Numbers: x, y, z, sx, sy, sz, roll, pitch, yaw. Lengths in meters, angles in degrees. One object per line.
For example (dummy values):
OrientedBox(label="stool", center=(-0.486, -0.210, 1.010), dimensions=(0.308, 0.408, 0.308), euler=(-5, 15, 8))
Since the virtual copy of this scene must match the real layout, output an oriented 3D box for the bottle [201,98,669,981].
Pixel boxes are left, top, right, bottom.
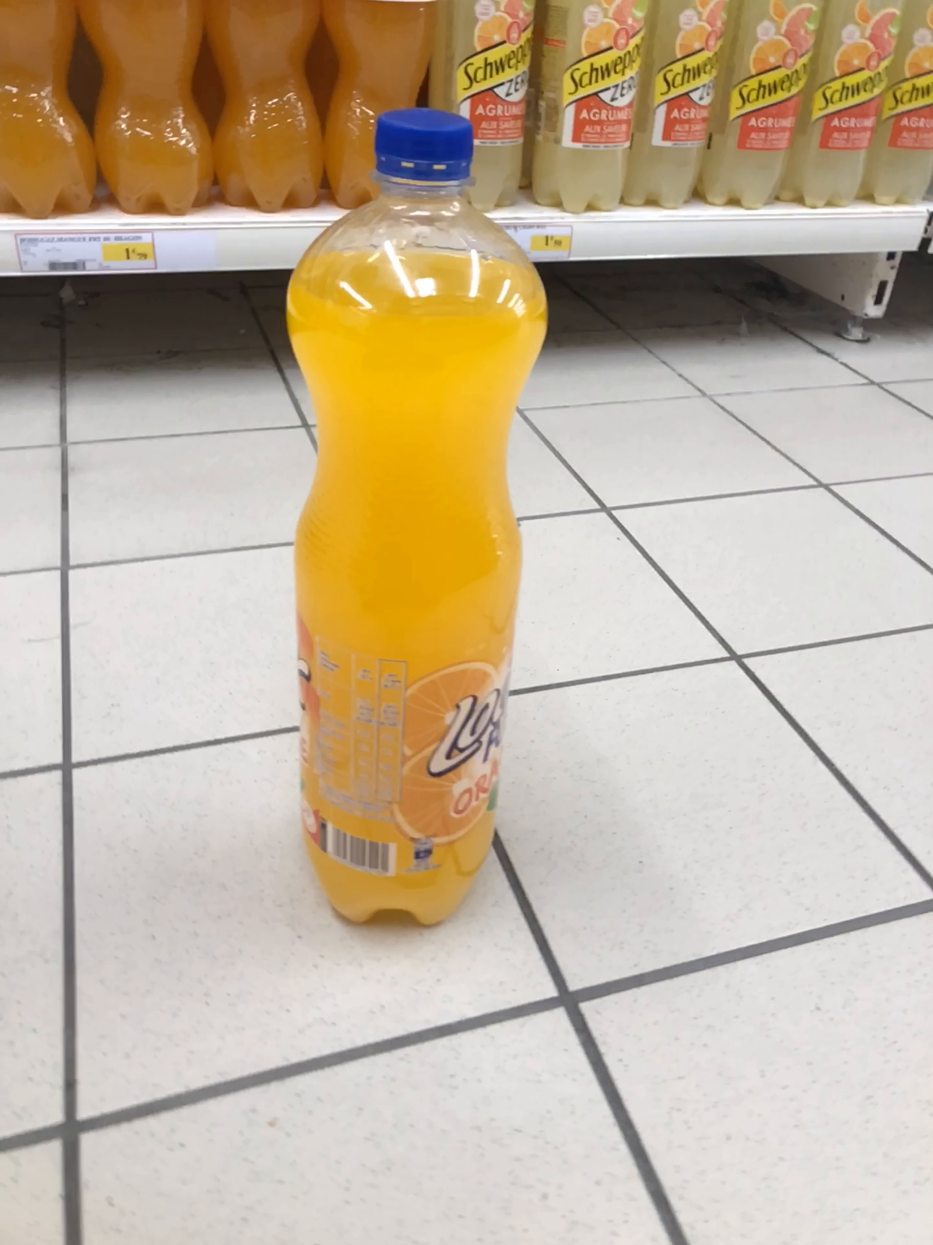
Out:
OrientedBox(label="bottle", center=(-0.013, -0.022, 0.388), dimensions=(0.100, 0.298, 0.111), euler=(18, 36, 20))
